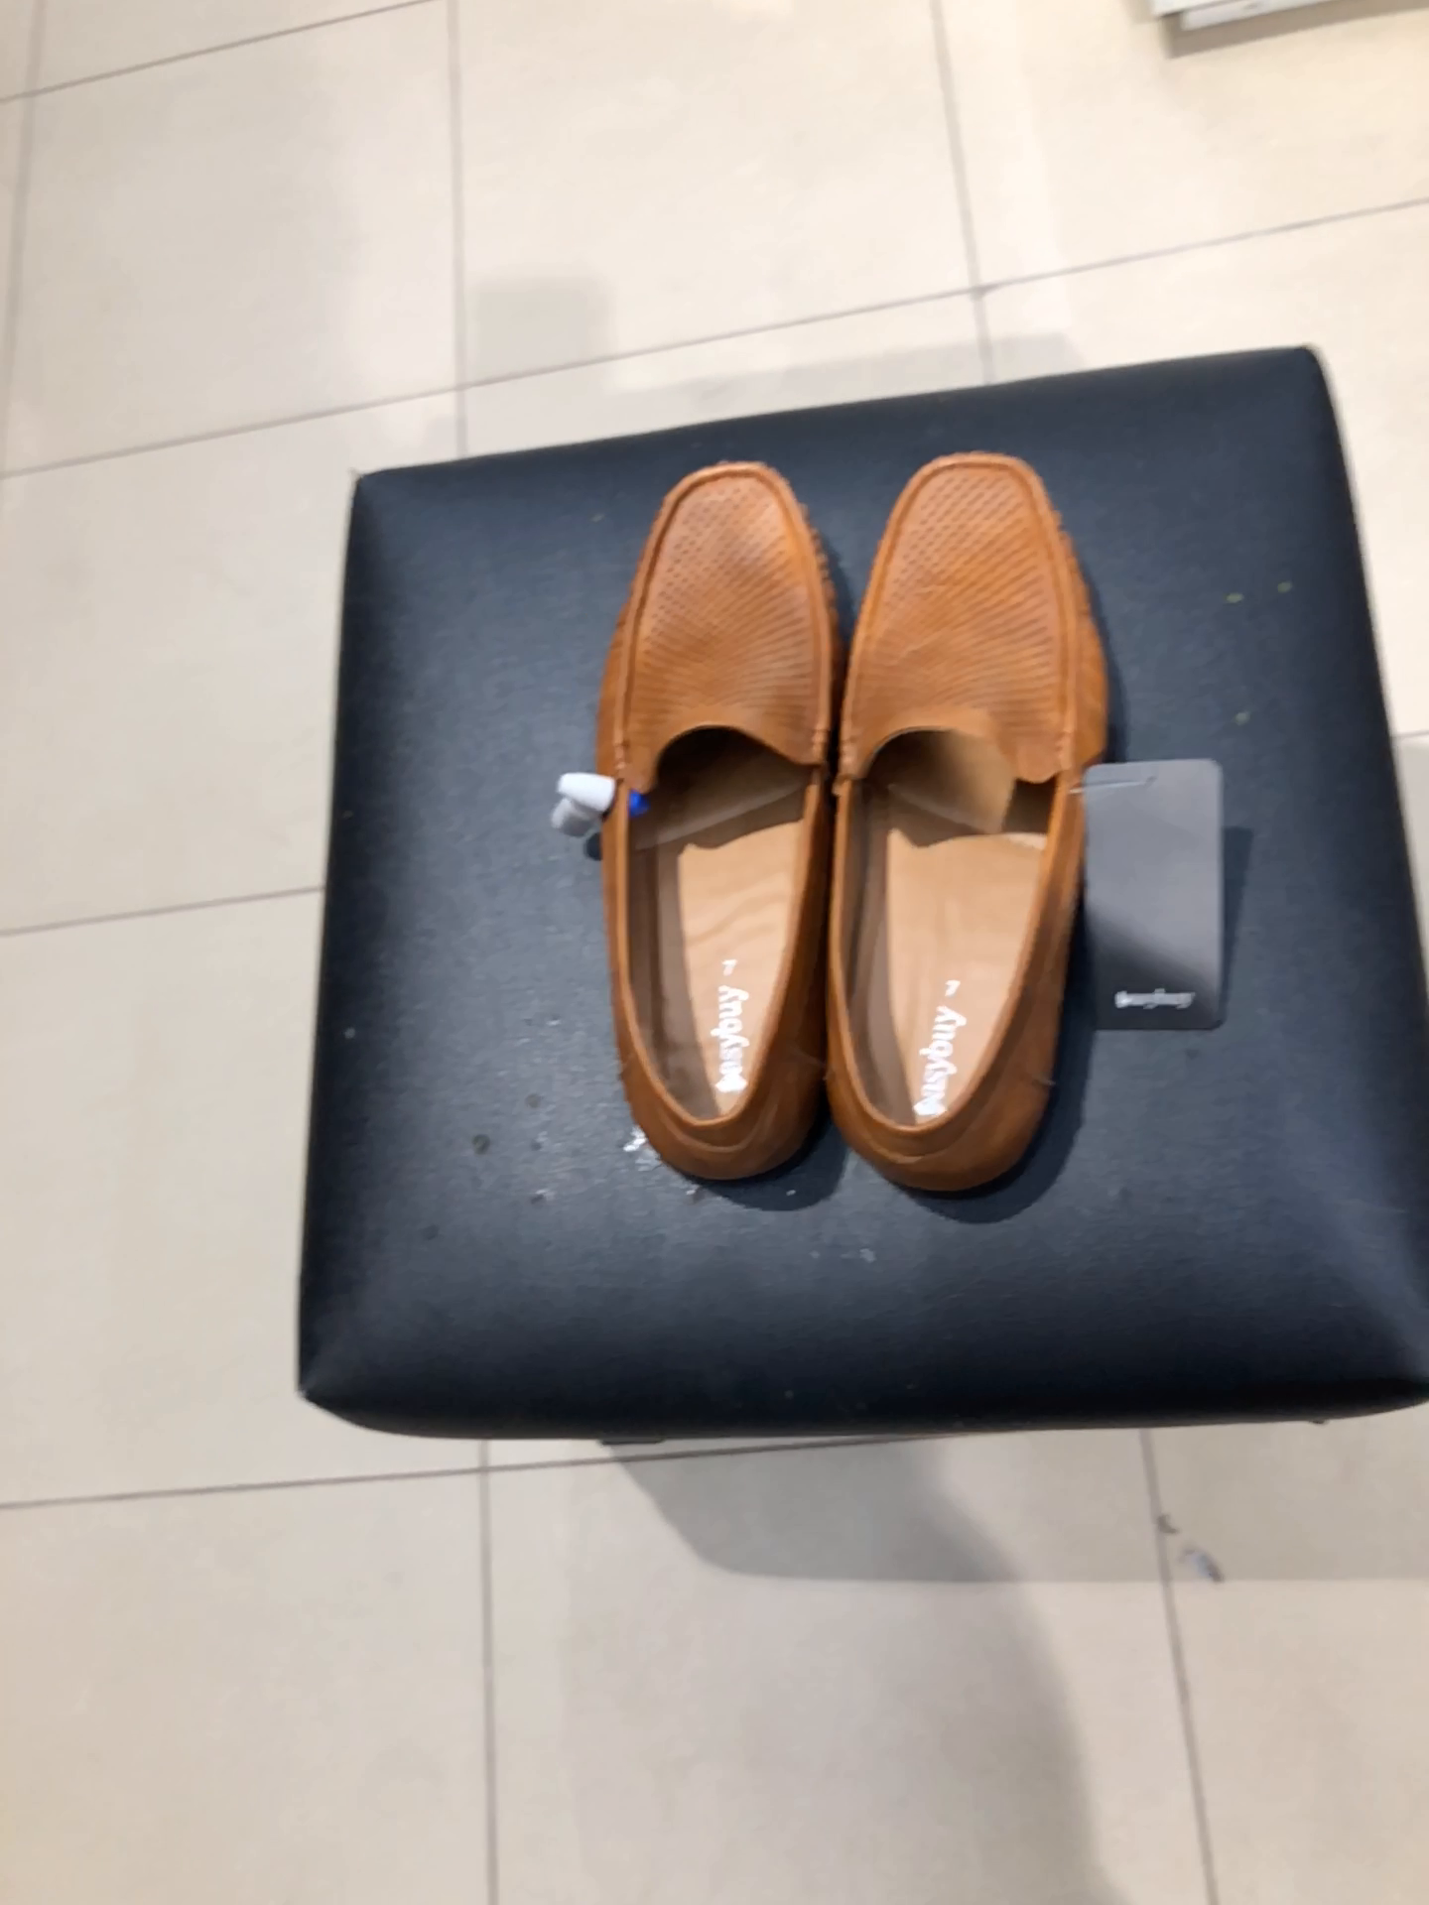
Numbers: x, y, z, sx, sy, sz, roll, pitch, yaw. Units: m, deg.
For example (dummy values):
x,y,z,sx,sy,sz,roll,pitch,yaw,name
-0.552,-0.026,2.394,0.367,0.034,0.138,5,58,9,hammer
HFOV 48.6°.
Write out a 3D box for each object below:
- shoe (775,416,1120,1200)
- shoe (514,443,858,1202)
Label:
x,y,z,sx,sy,sz,roll,pitch,yaw,name
0.088,-0.049,0.558,0.097,0.096,0.253,2,73,13,shoe
-0.002,-0.043,0.574,0.097,0.096,0.253,-2,73,12,shoe
